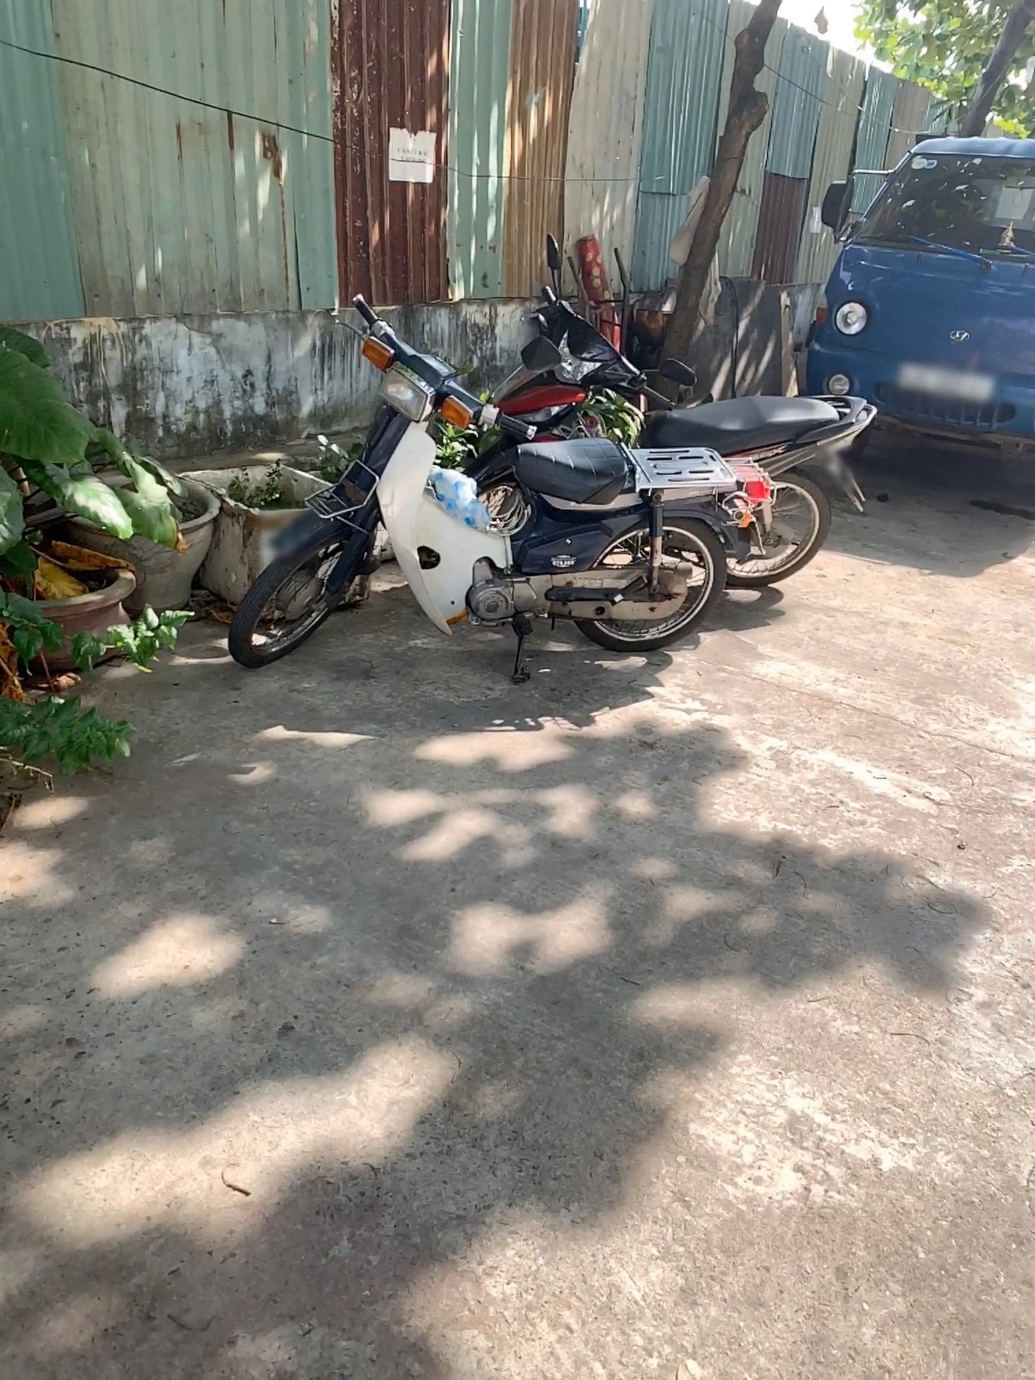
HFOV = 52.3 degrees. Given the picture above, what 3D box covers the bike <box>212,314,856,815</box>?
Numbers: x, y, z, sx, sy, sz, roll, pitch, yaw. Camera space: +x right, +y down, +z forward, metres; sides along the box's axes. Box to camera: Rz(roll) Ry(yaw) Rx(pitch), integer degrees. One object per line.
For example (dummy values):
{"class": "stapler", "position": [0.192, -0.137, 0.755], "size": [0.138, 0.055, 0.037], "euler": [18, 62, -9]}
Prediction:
{"class": "bike", "position": [0.003, -0.414, 2.855], "size": [1.476, 1.024, 0.655], "euler": [-8, 27, -21]}
